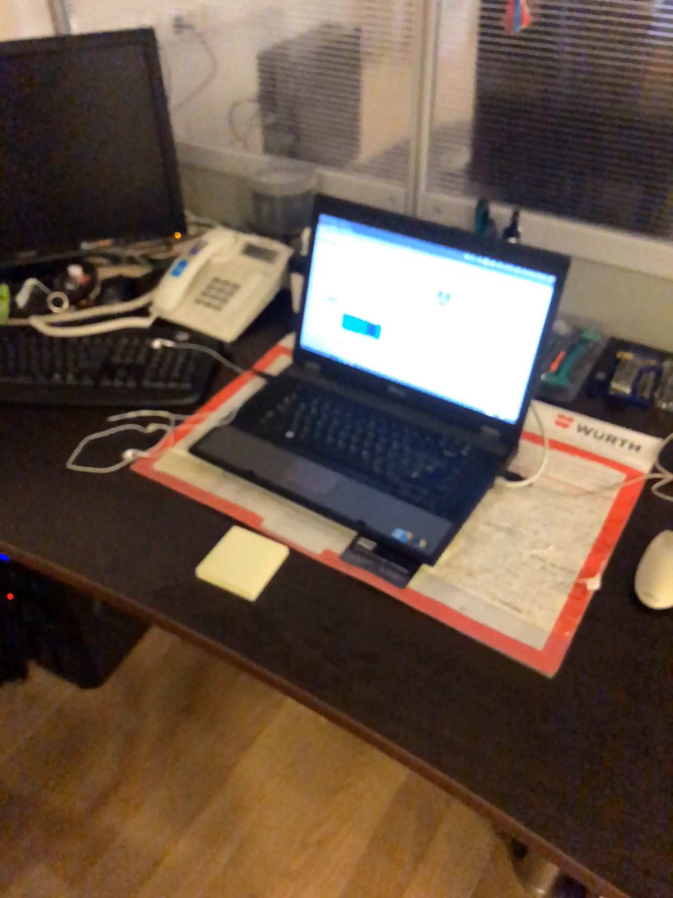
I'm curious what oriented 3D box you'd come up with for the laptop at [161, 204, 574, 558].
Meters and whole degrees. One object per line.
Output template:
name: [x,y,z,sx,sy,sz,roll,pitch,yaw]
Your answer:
laptop: [0.037,-0.092,0.816,0.317,0.209,0.257,22,46,25]
